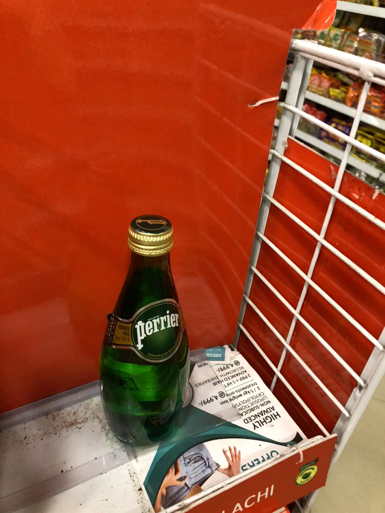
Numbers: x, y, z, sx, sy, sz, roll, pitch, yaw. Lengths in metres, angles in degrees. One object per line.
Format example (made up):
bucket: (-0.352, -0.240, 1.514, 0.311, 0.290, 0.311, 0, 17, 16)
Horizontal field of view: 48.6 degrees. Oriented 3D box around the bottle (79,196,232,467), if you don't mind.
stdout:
bottle: (-0.030, 0.057, 0.297, 0.070, 0.179, 0.060, -13, 39, -26)
